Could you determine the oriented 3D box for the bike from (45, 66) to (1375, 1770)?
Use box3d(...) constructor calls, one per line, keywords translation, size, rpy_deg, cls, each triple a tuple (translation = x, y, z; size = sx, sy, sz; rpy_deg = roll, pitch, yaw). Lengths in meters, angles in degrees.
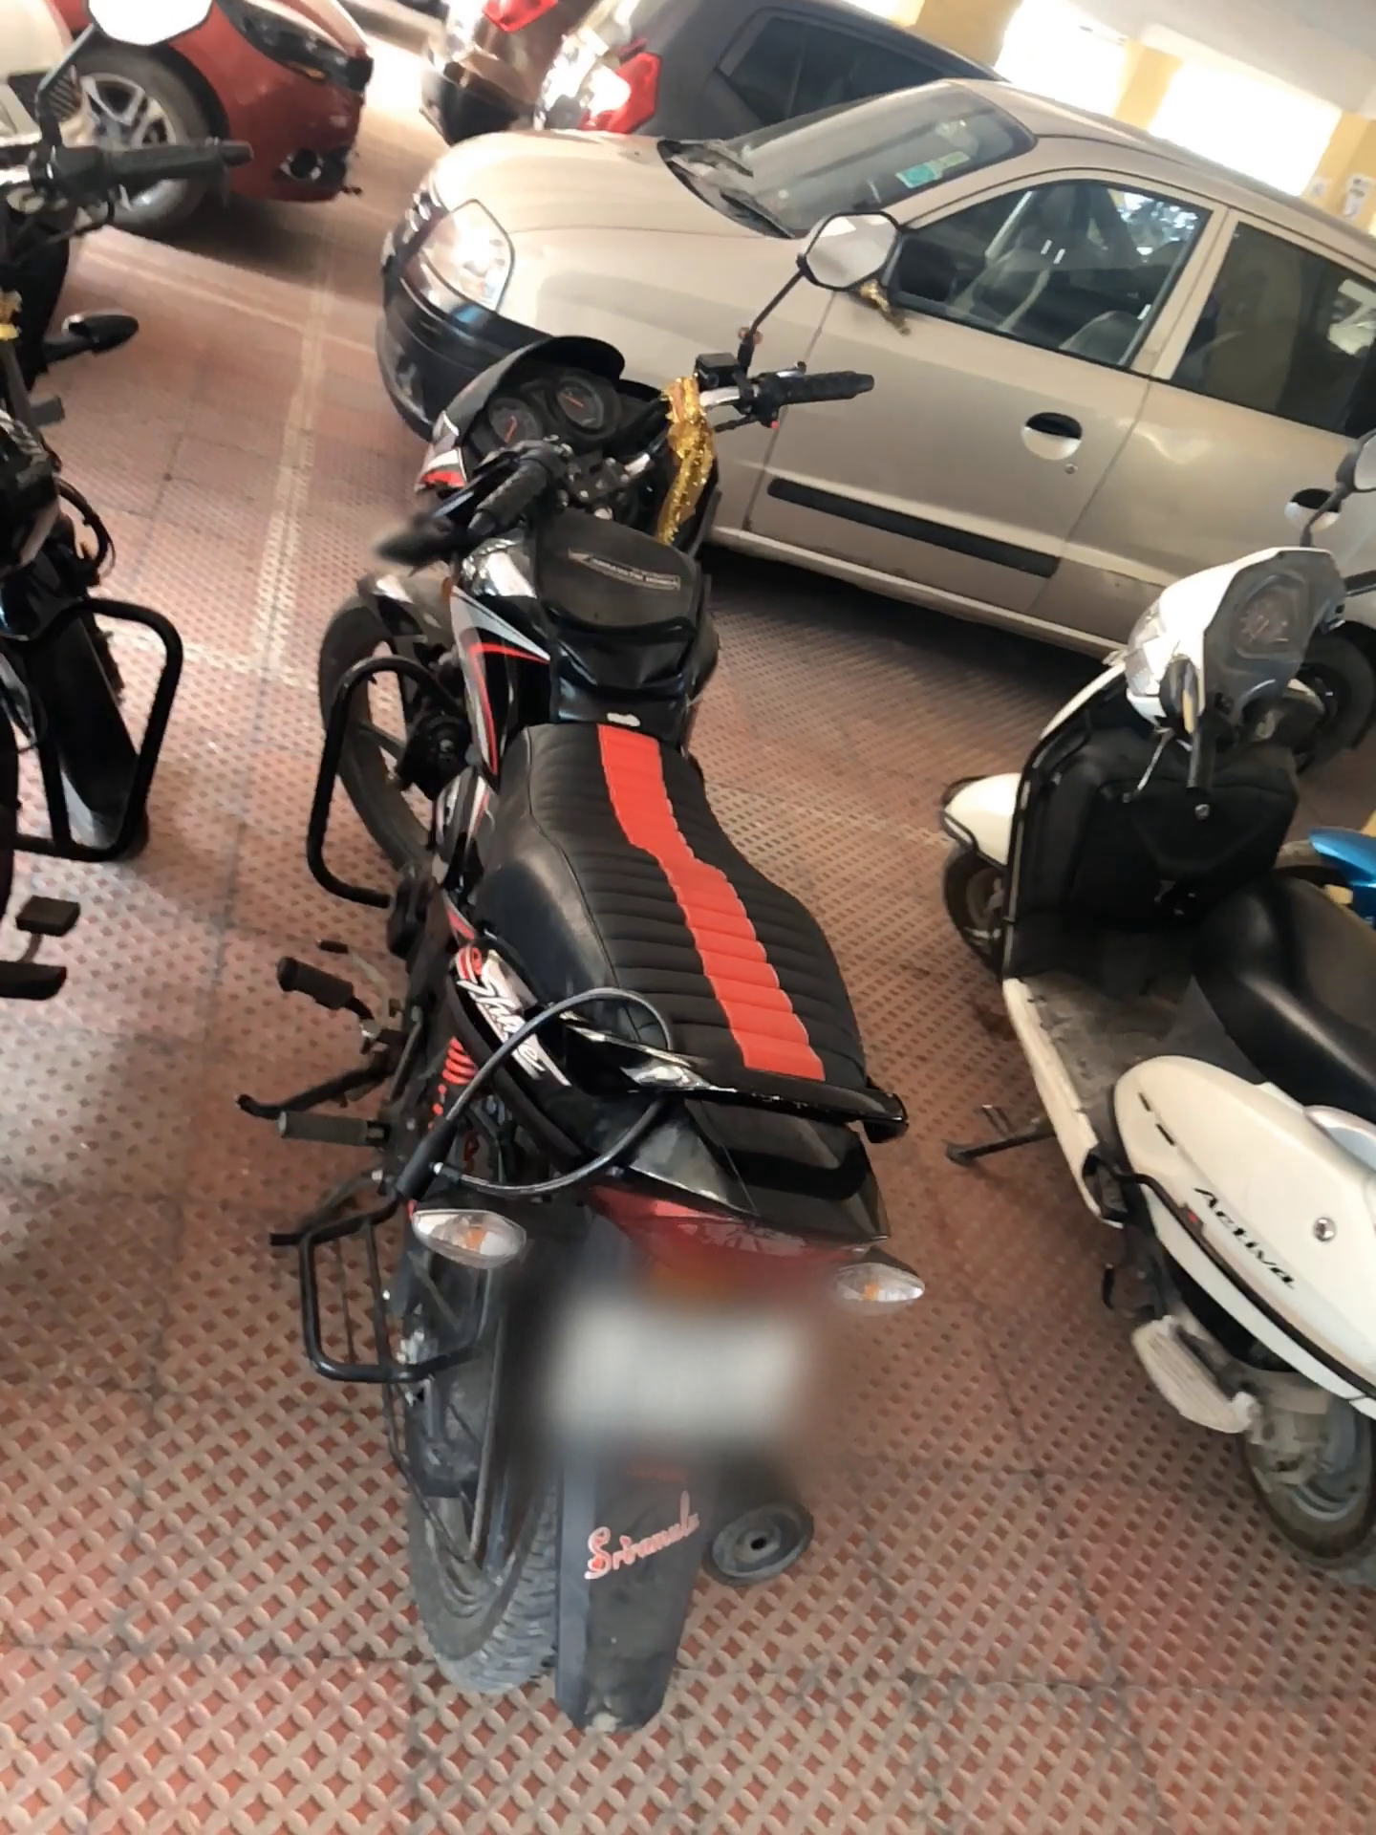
box3d(translation=(-0.246, -0.103, 1.706), size=(0.746, 1.011, 1.560), rpy_deg=(7, 35, -27), cls="bike")
